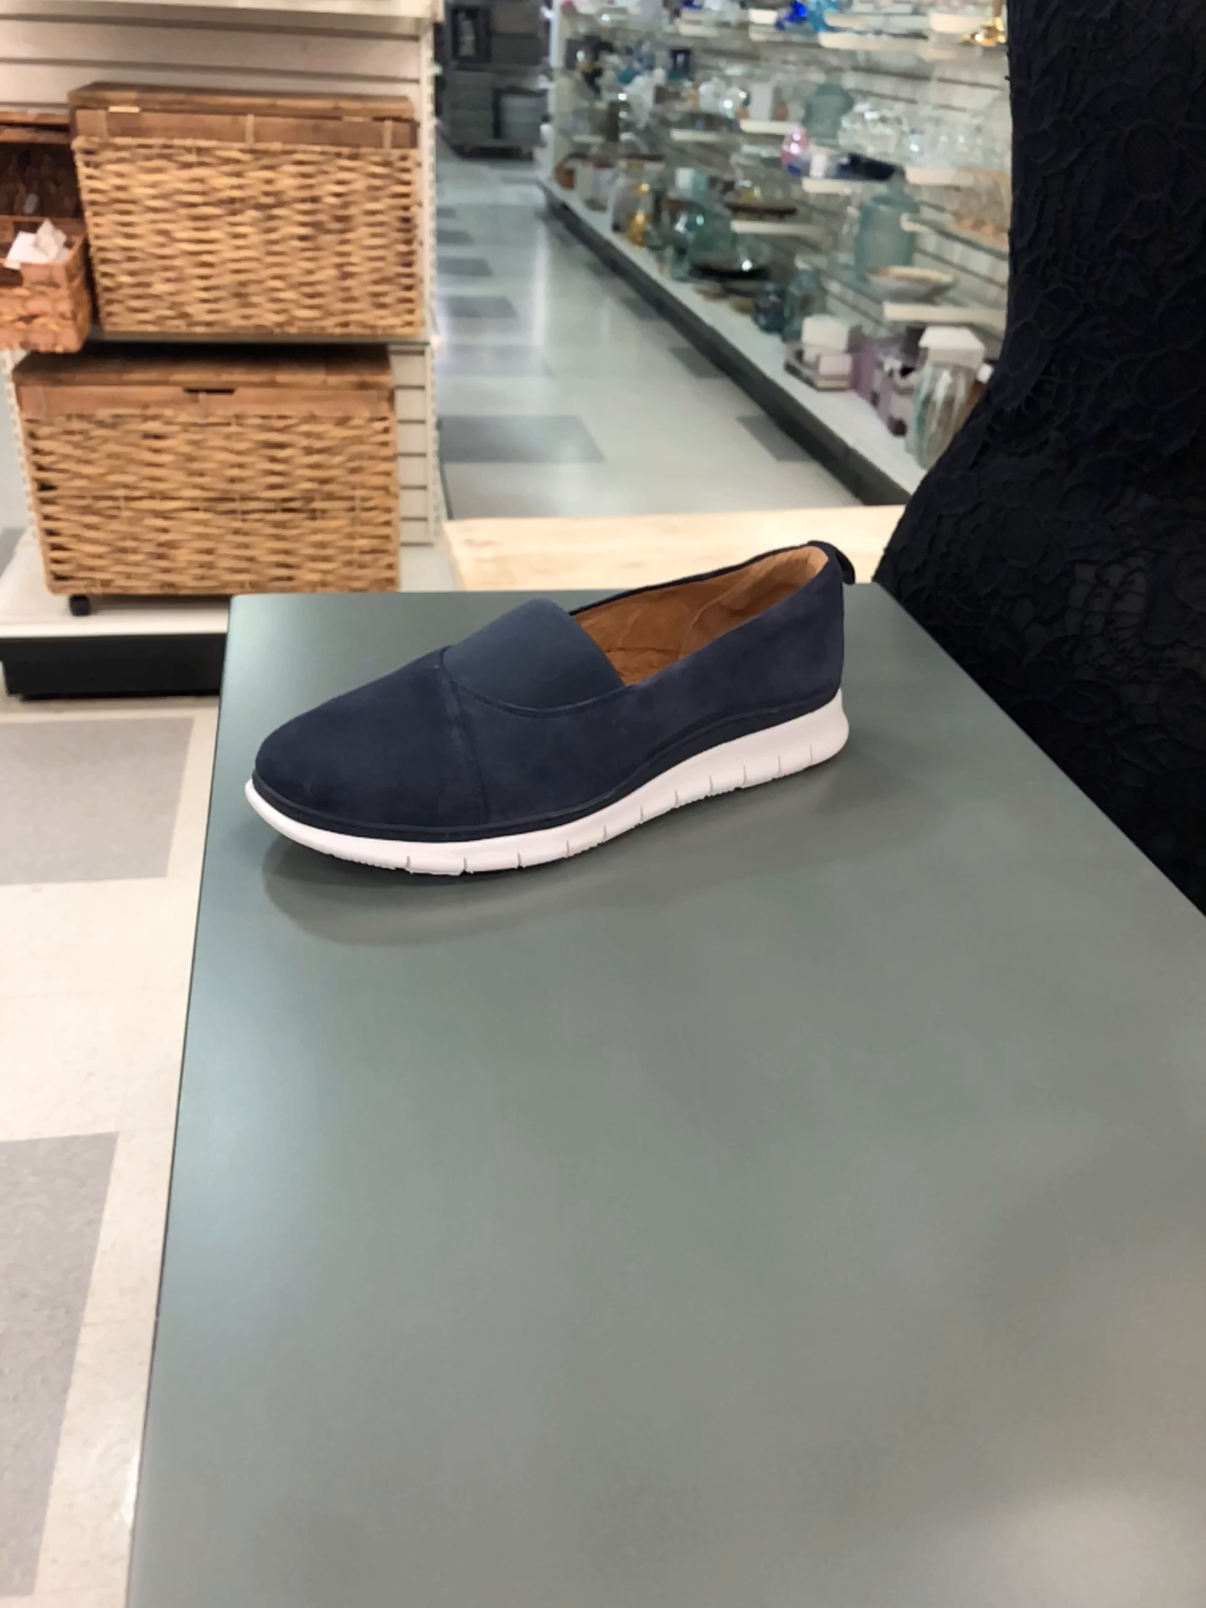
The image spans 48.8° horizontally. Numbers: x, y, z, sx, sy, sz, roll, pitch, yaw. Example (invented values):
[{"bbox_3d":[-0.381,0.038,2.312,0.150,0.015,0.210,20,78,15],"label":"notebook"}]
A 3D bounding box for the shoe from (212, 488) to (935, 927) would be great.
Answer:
[{"bbox_3d":[-0.009,-0.053,0.558,0.271,0.102,0.110,-13,33,-27],"label":"shoe"}]
